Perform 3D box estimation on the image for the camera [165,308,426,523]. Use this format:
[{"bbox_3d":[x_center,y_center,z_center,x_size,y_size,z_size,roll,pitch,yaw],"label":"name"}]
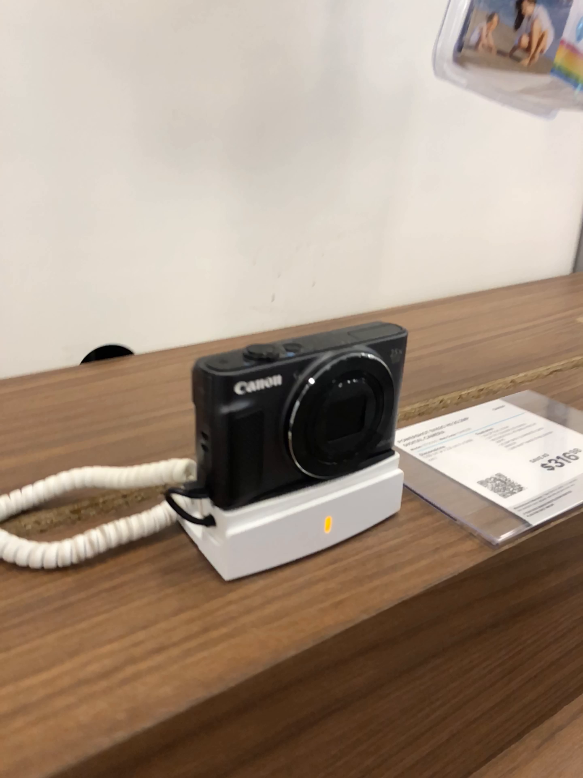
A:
[{"bbox_3d":[0.004,0.006,0.259,0.100,0.060,0.030,-13,25,-30],"label":"camera"}]
